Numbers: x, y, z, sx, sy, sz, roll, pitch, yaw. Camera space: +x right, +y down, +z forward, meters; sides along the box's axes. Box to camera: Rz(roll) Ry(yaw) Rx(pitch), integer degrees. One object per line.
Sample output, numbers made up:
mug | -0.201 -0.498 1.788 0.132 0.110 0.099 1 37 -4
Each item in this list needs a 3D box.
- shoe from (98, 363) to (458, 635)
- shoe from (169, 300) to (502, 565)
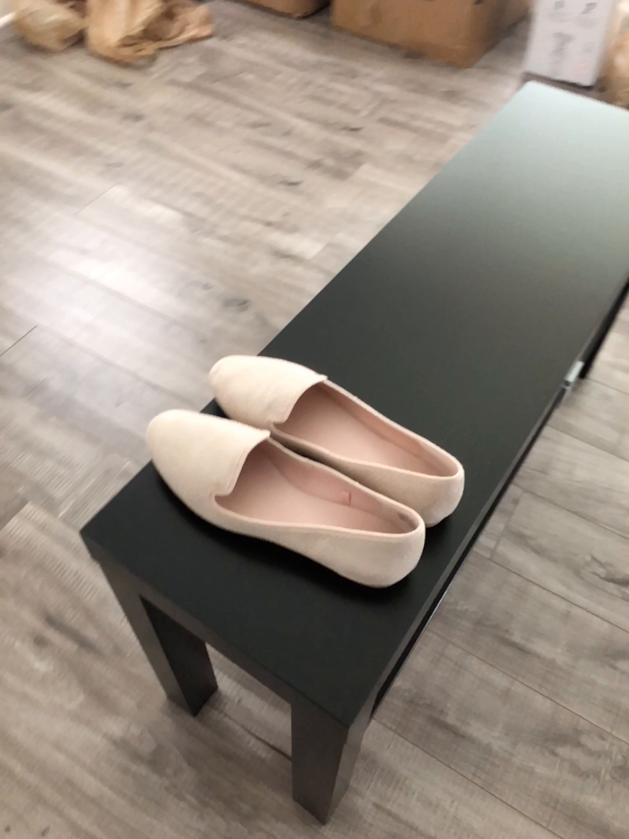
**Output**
shoe | -0.031 0.055 0.529 0.259 0.070 0.080 25 56 17
shoe | 0.011 0.003 0.574 0.259 0.070 0.090 29 57 20
